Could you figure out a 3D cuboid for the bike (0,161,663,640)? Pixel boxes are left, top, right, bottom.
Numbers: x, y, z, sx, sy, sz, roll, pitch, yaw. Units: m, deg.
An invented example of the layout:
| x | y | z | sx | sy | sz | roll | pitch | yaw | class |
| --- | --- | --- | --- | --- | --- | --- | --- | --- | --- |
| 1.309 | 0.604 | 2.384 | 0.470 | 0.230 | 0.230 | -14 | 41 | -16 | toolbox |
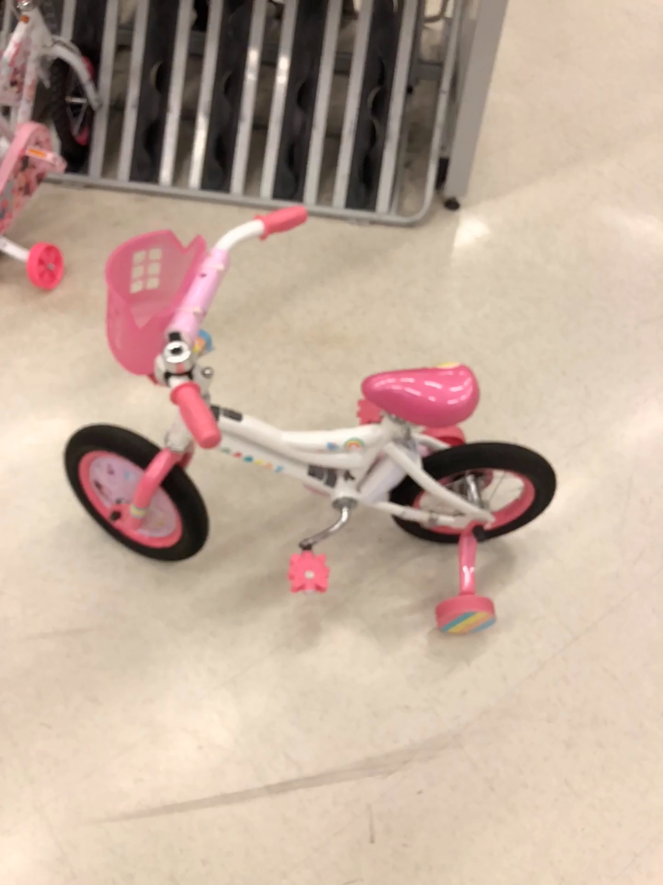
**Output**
| x | y | z | sx | sy | sz | roll | pitch | yaw | class |
| --- | --- | --- | --- | --- | --- | --- | --- | --- | --- |
| -0.027 | -0.037 | 1.233 | 0.878 | 0.632 | 0.459 | 3 | 55 | 2 | bike |
